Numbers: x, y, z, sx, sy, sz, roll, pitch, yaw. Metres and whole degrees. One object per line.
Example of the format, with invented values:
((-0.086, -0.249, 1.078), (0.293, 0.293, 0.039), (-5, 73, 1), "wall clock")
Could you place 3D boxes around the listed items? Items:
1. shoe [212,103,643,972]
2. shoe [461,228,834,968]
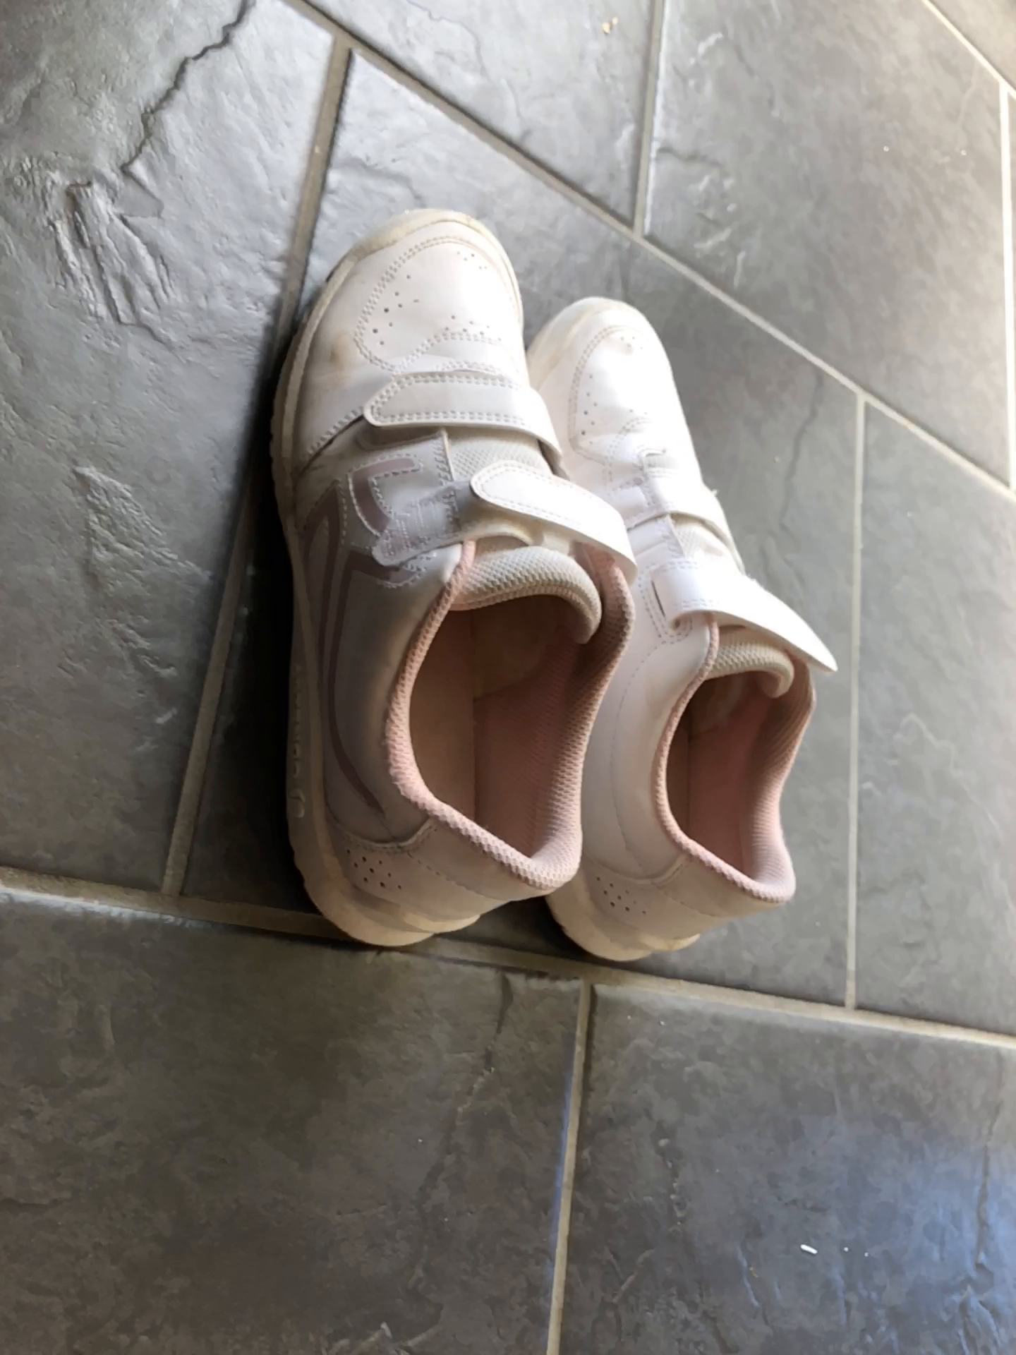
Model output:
((-0.022, -0.035, 0.371), (0.096, 0.090, 0.250), (12, 73, -37), "shoe")
((0.048, -0.021, 0.432), (0.096, 0.090, 0.250), (9, 75, -37), "shoe")
